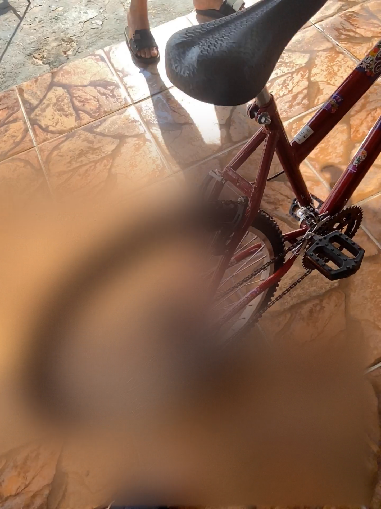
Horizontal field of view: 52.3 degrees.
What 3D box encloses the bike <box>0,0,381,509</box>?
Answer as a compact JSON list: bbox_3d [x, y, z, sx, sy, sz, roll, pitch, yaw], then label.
[{"bbox_3d":[0.264,-0.132,0.711,1.408,1.084,0.551,-24,62,-3],"label":"bike"}]
